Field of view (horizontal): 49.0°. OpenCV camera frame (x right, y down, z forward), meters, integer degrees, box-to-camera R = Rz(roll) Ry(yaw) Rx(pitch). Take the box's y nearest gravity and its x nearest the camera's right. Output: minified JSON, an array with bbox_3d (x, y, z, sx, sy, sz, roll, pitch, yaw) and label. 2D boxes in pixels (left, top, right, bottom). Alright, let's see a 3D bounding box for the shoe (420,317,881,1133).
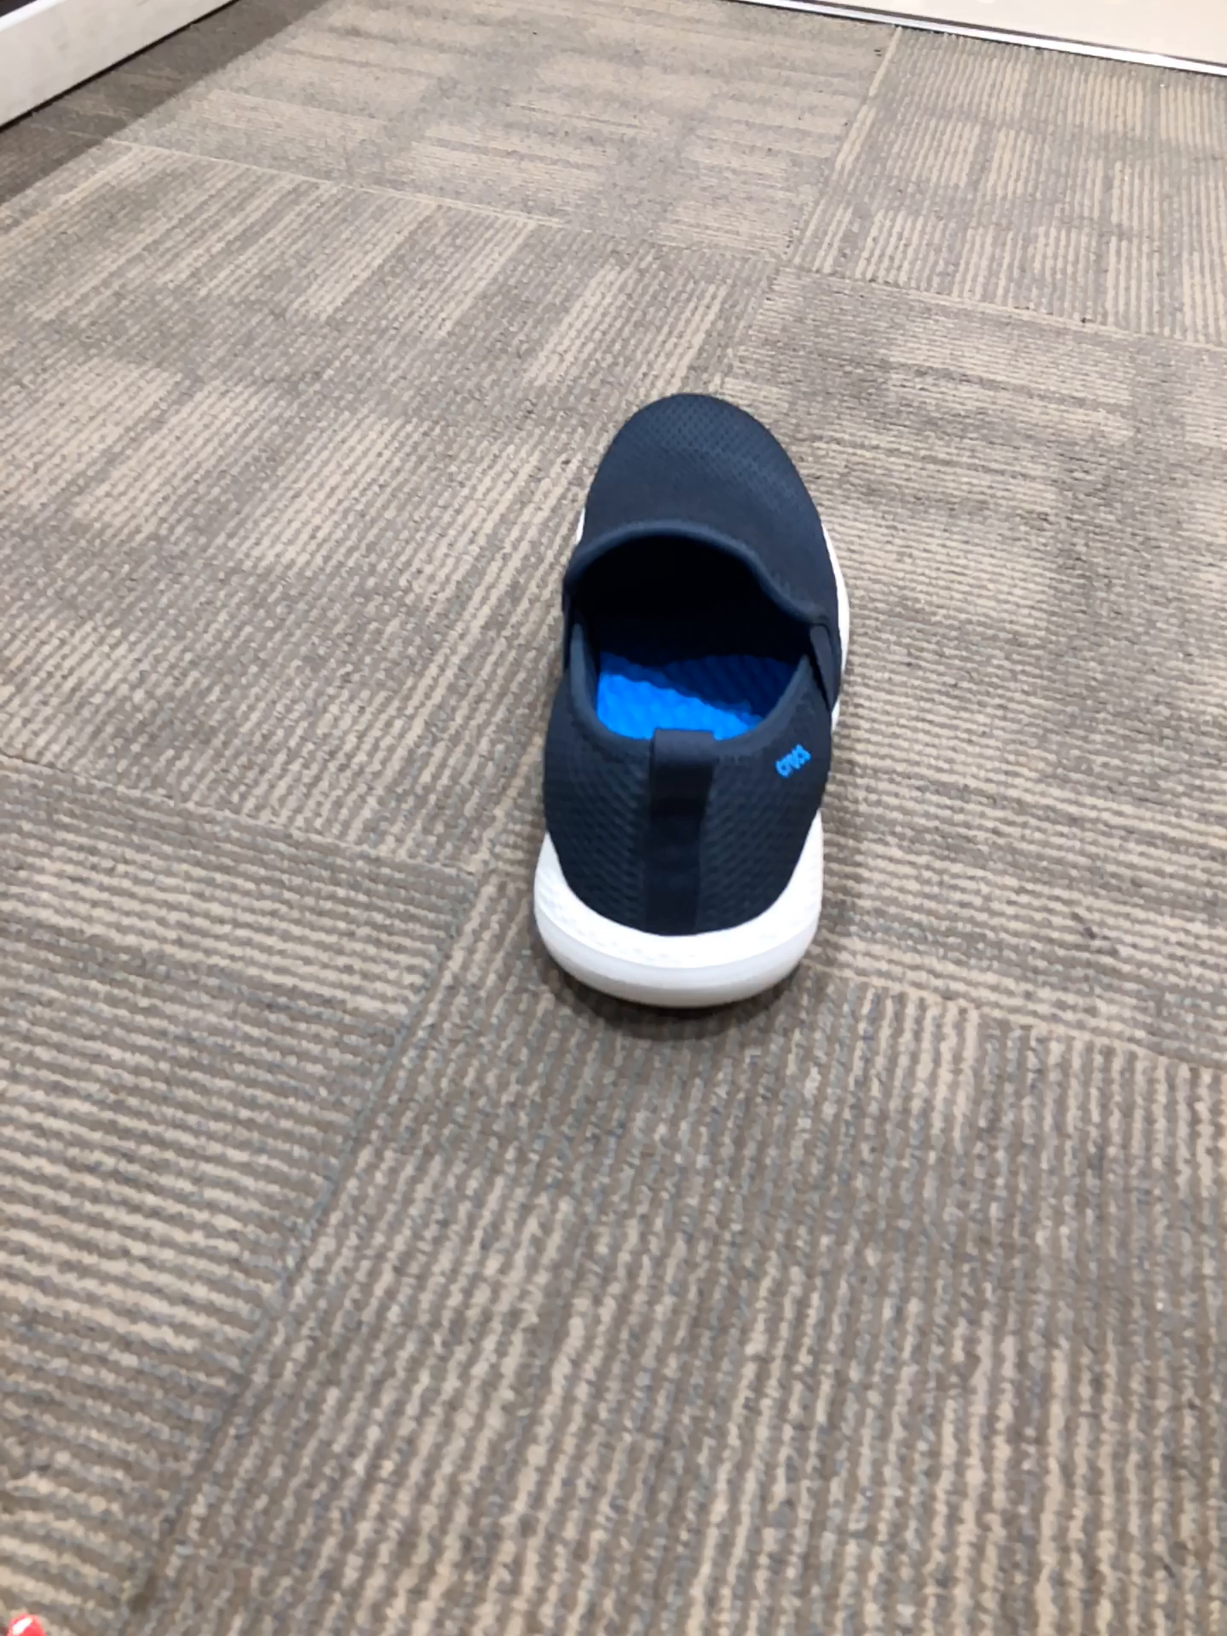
[{"bbox_3d":[0.023,-0.049,0.466,0.110,0.119,0.272,9,46,3],"label":"shoe"}]
